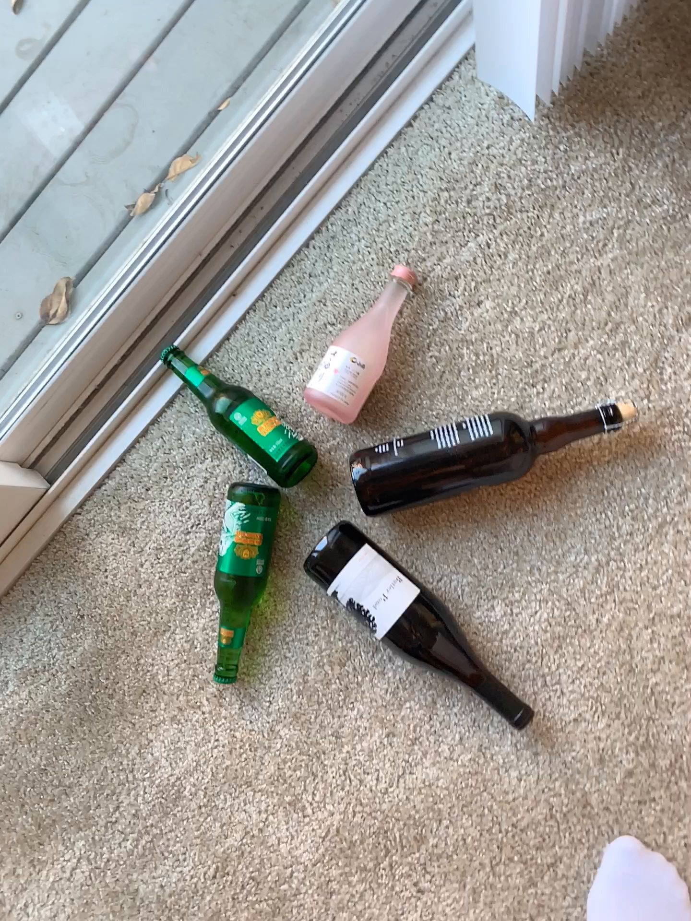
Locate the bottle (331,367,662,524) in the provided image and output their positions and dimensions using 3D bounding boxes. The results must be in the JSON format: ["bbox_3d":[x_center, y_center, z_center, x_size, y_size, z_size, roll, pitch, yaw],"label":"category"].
[{"bbox_3d":[0.150,-0.008,0.736,0.310,0.090,0.070,-16,82,12],"label":"bottle"}]

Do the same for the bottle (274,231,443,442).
[{"bbox_3d":[0.018,-0.128,0.762,0.070,0.090,0.200,32,93,14],"label":"bottle"}]

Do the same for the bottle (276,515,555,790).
[{"bbox_3d":[0.071,0.183,0.727,0.300,0.090,0.070,42,95,13],"label":"bottle"}]

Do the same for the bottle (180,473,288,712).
[{"bbox_3d":[-0.120,0.139,0.779,0.060,0.090,0.240,6,87,14],"label":"bottle"}]

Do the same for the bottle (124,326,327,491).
[{"bbox_3d":[-0.137,-0.059,0.817,0.230,0.080,0.060,37,94,14],"label":"bottle"}]
